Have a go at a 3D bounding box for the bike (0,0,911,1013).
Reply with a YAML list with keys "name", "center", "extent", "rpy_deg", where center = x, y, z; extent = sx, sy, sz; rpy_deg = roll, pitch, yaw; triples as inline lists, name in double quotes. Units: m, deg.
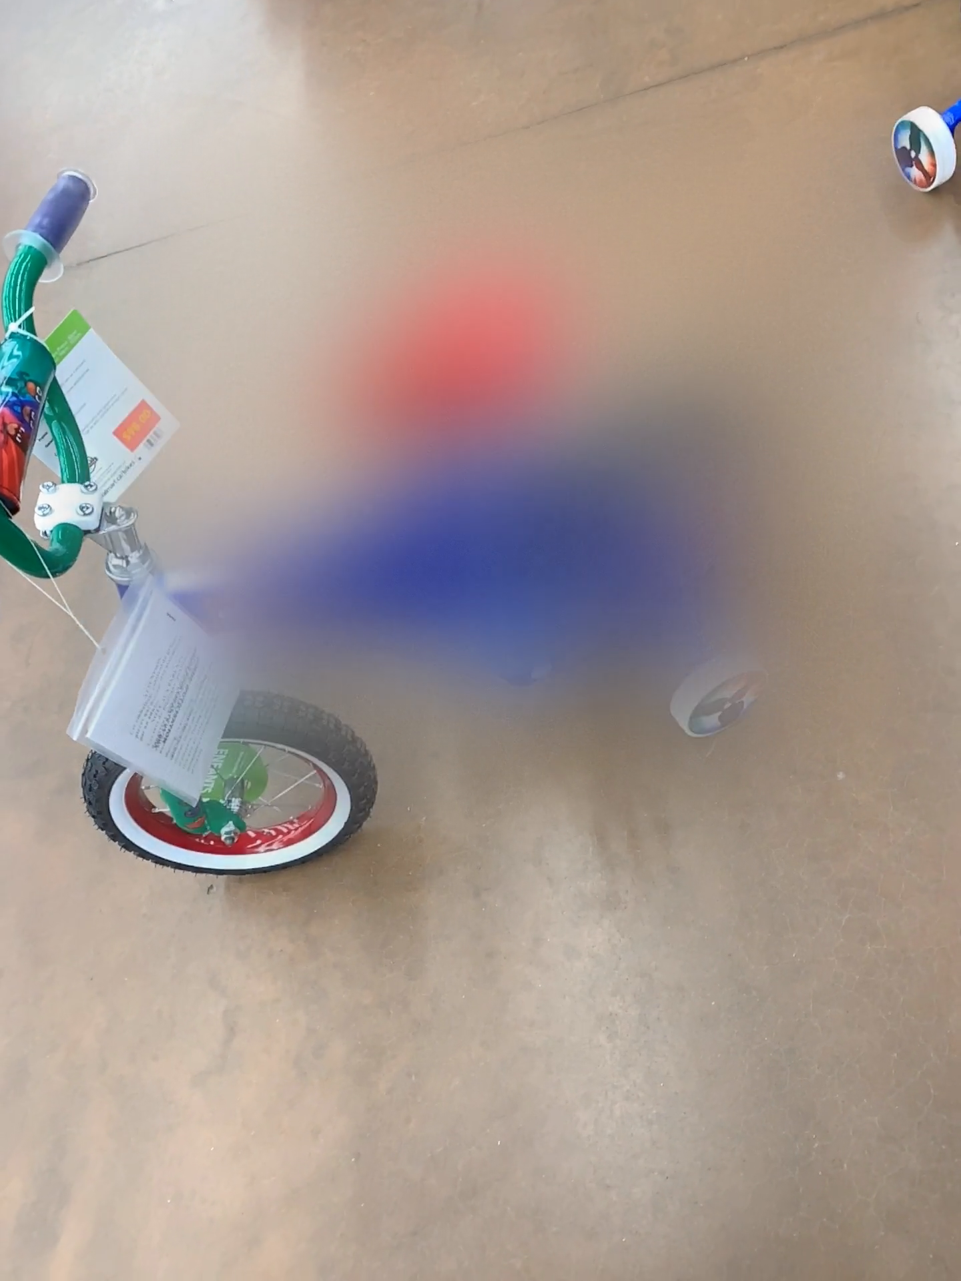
- name: "bike"
  center: [-0.125, -0.119, 0.906]
  extent: [0.774, 0.670, 0.462]
  rpy_deg: [-30, 55, -1]
